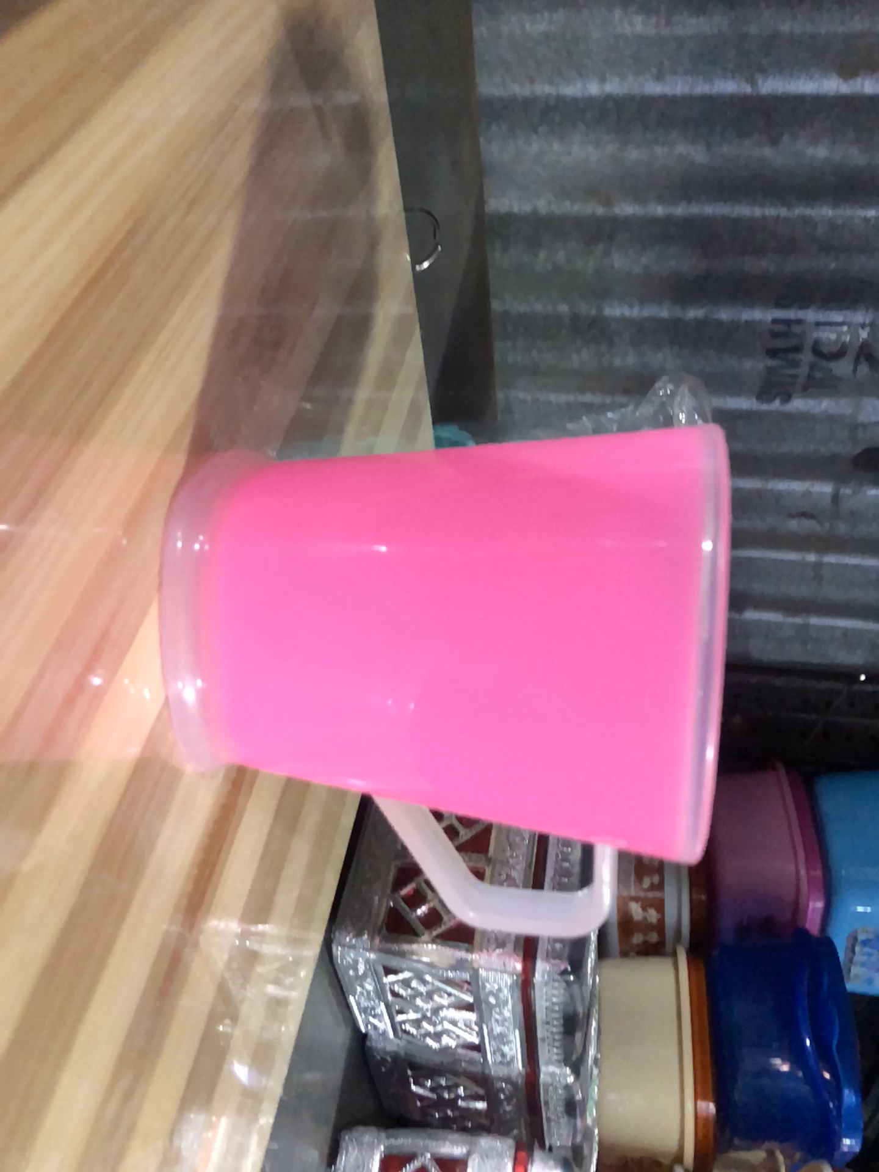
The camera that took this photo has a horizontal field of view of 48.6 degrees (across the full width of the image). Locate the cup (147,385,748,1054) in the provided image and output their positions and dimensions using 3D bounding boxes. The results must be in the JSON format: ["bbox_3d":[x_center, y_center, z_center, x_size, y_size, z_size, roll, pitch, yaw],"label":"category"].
[{"bbox_3d":[0.007,0.024,0.215,0.070,0.100,0.120,-66,157,-65],"label":"cup"}]
